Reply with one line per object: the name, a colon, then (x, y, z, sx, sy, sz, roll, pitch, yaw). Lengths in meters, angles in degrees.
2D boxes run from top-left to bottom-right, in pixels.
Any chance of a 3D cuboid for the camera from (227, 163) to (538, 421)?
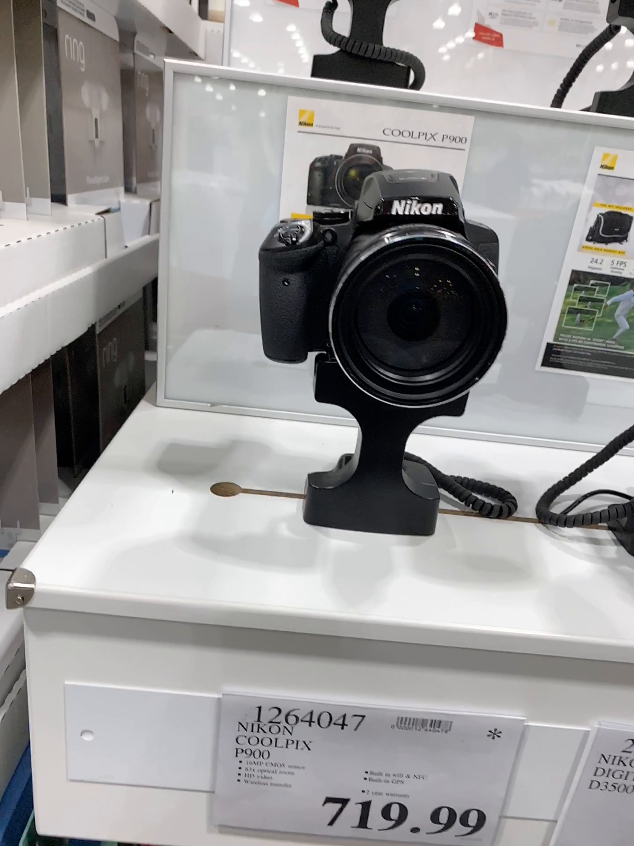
camera: (0.030, -0.083, 0.364, 0.130, 0.109, 0.151, 3, 21, 3)
